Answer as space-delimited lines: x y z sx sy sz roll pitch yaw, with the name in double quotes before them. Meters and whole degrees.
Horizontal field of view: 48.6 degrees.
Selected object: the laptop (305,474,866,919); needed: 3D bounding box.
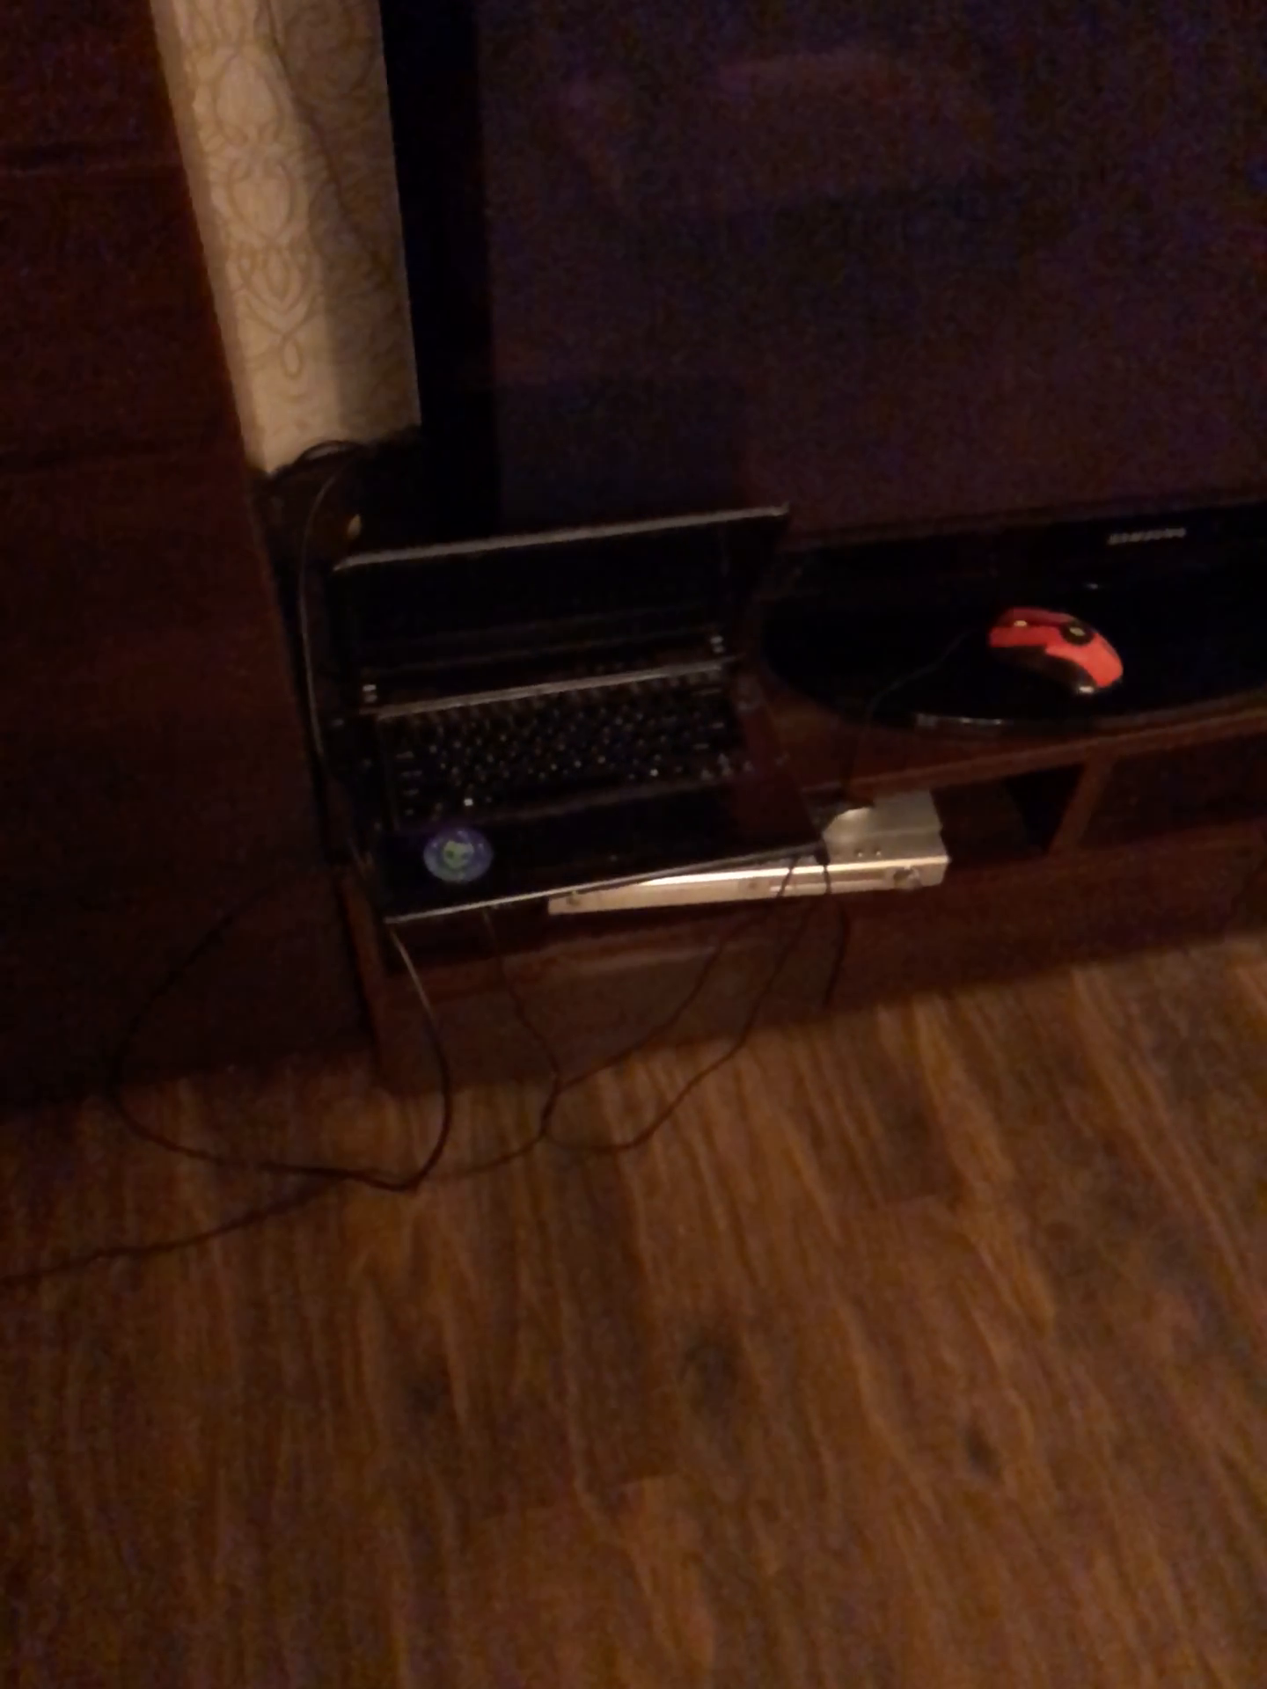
"laptop" -0.041 -0.110 1.004 0.336 0.183 0.200 -10 52 -12
